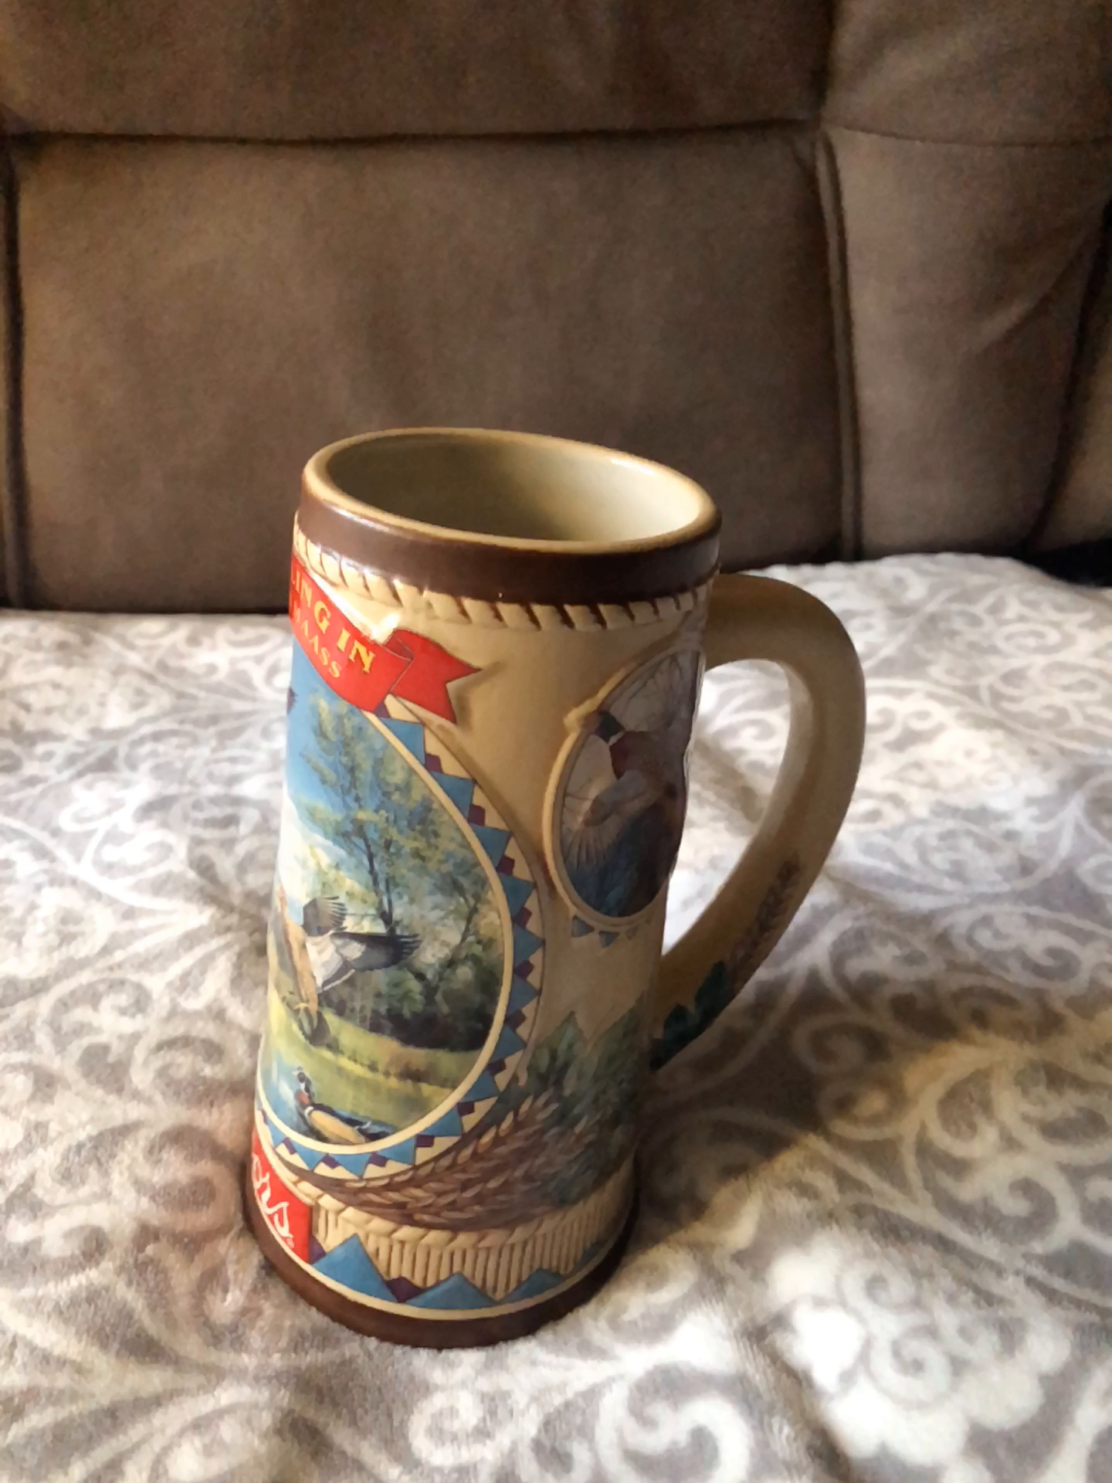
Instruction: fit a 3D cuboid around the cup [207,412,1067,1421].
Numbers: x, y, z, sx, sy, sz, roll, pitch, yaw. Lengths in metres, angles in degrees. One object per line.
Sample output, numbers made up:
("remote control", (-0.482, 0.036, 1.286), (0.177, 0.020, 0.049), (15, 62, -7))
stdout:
("cup", (0.004, 0.031, 0.295), (0.144, 0.188, 0.099), (-6, 29, -28))
